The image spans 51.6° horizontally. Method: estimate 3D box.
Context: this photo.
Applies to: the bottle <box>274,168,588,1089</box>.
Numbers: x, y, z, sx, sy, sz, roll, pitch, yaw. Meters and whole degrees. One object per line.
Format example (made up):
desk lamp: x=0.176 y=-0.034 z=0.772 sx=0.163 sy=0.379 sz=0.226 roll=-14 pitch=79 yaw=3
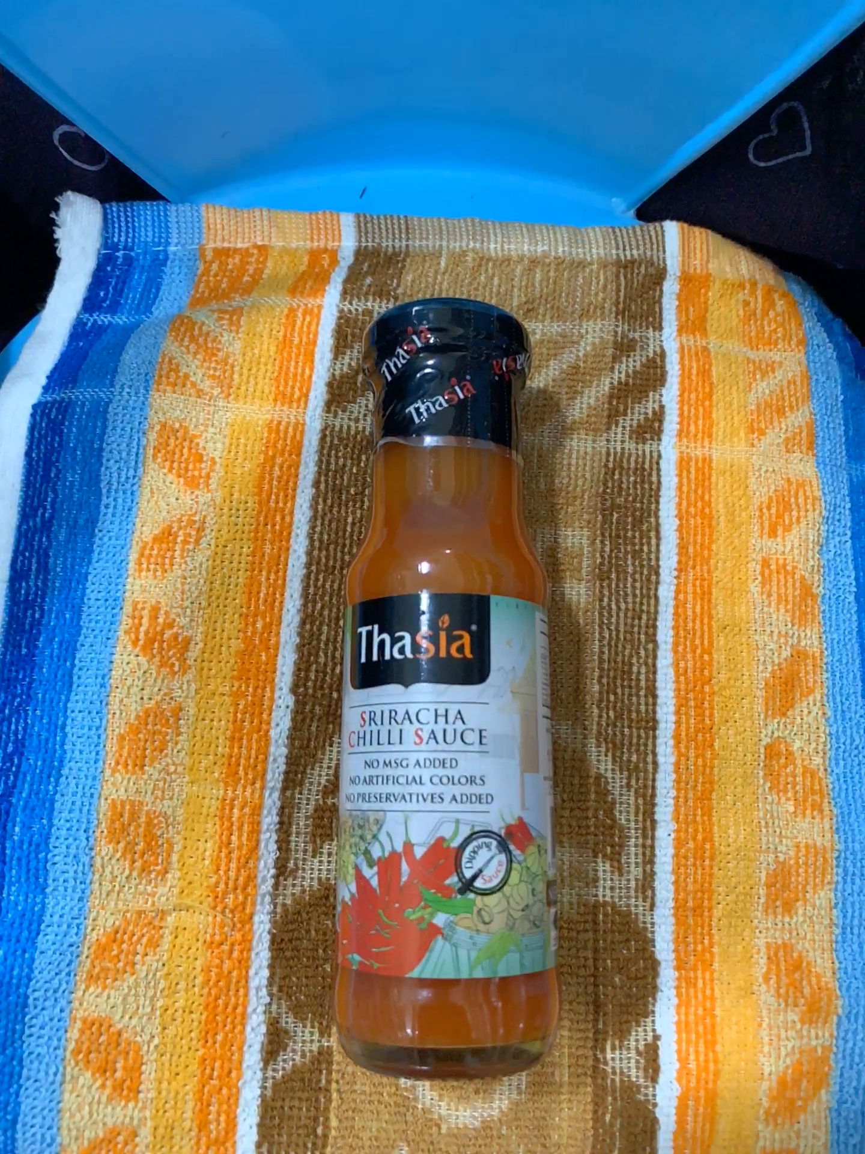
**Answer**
bottle: x=0.005 y=0.005 z=0.199 sx=0.050 sy=0.050 sz=0.180 roll=-3 pitch=72 yaw=13
